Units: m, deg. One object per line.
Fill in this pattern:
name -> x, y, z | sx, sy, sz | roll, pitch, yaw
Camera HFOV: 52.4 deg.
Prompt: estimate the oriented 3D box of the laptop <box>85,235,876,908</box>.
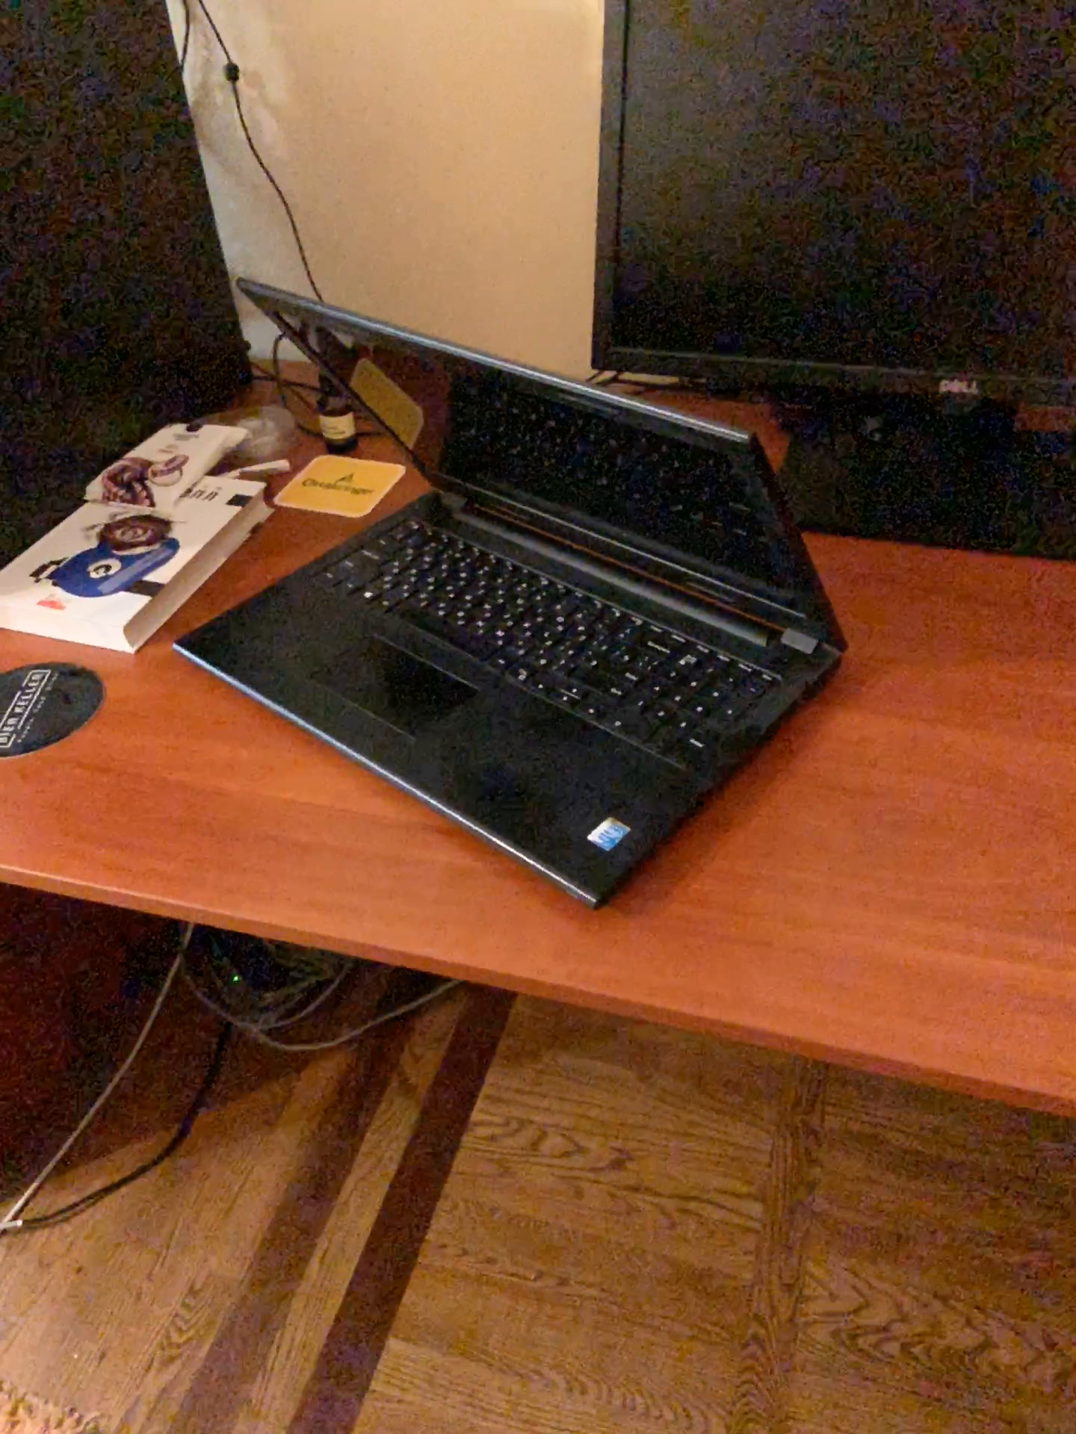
laptop -> -0.038, -0.119, 0.672 | 0.374, 0.202, 0.246 | 27, 51, 31
